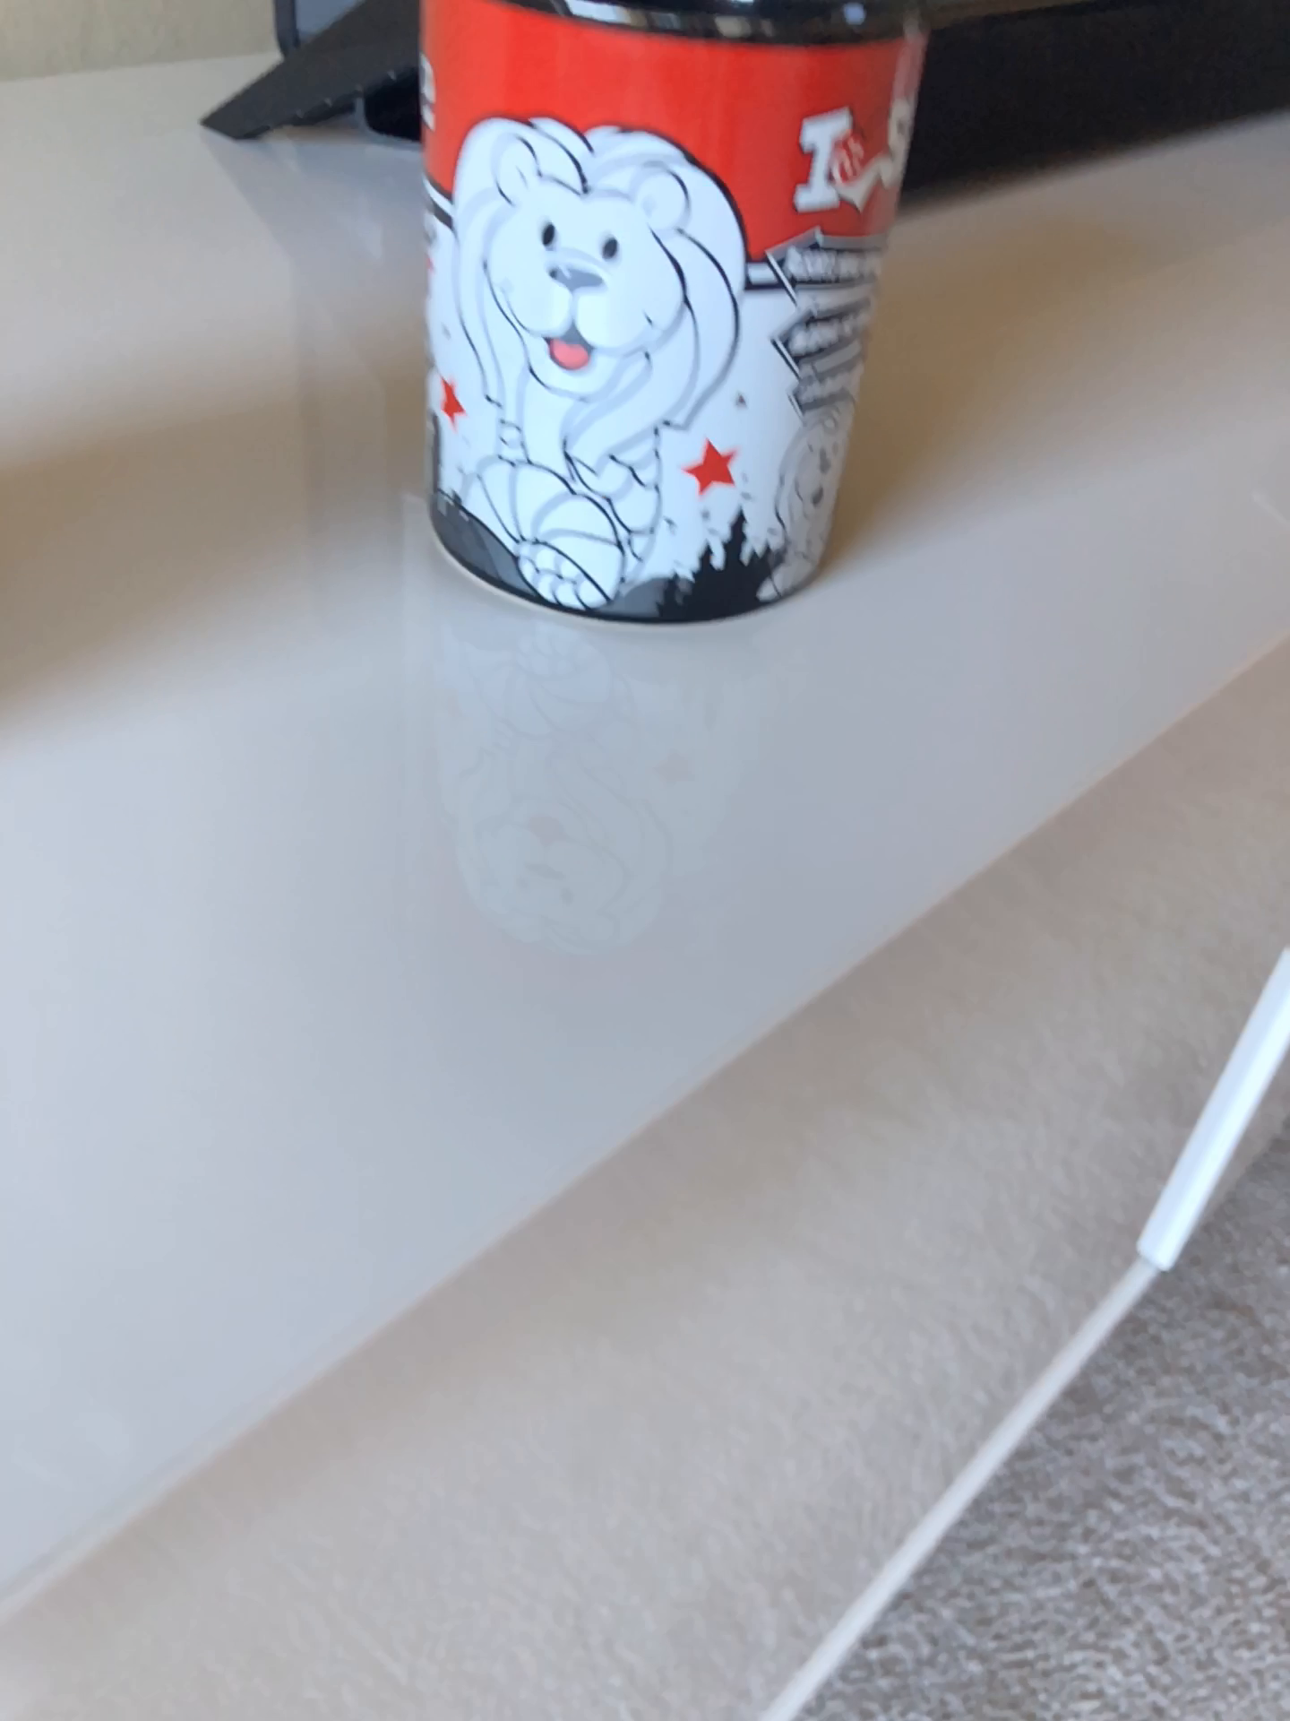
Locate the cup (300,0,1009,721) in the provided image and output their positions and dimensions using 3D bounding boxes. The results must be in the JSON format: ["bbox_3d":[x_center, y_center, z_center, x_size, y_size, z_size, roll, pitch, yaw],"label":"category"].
[{"bbox_3d":[0.006,-0.113,0.275,0.080,0.109,0.121,17,40,14],"label":"cup"}]
